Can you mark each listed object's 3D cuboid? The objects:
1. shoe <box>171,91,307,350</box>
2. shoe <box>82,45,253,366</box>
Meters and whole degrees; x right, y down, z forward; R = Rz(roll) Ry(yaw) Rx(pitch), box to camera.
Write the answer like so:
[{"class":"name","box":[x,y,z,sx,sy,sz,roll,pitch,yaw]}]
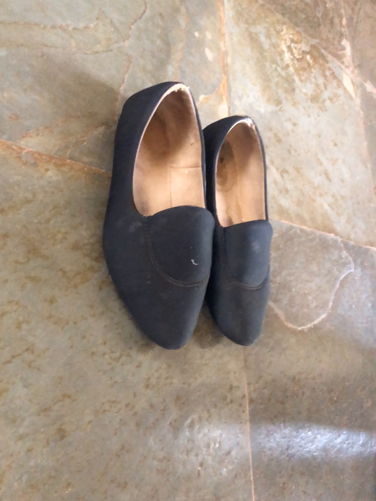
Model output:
[{"class":"shoe","box":[0.055,-0.028,0.482,0.111,0.079,0.270,9,71,-39]},{"class":"shoe","box":[-0.024,-0.037,0.399,0.111,0.079,0.270,3,75,-40]}]
